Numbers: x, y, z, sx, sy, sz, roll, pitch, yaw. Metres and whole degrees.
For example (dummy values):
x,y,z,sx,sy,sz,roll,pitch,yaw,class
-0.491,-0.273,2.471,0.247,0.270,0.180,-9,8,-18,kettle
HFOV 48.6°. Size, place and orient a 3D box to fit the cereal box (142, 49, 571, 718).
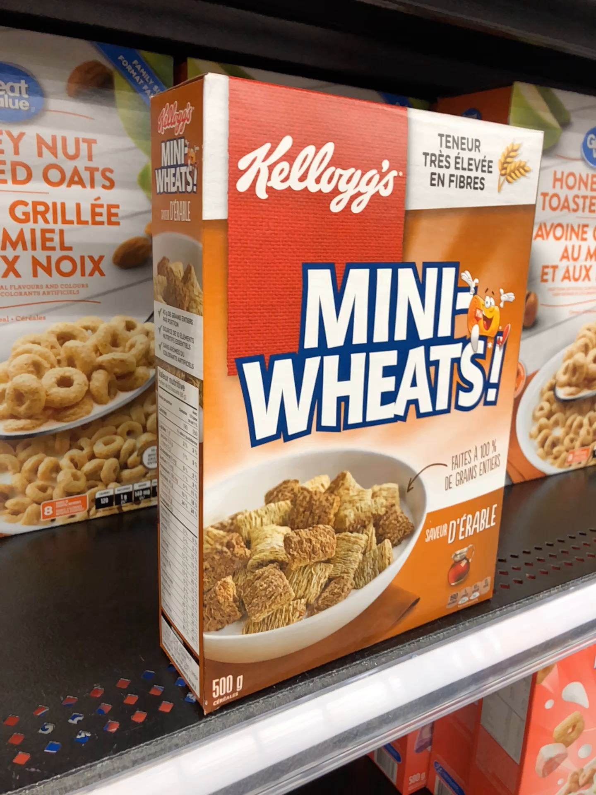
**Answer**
x,y,z,sx,sy,sz,roll,pitch,yaw,class
0.031,-0.007,0.335,0.200,0.269,0.060,-7,17,-31,cereal box
